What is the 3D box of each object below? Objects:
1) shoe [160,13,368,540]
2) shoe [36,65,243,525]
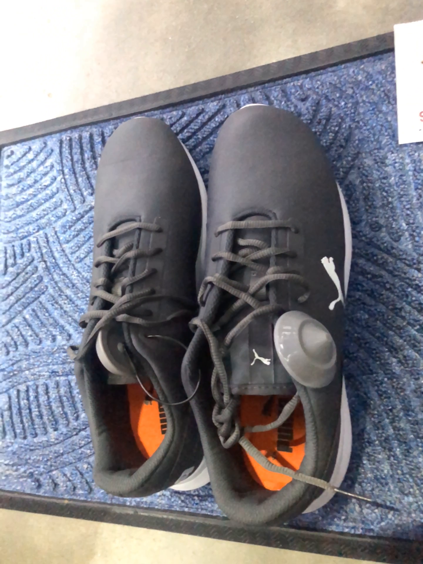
[{"bbox_3d":[0.039,-0.004,0.328,0.100,0.100,0.300,-6,82,22],"label":"shoe"},{"bbox_3d":[-0.056,0.010,0.369,0.110,0.100,0.300,-8,82,22],"label":"shoe"}]
